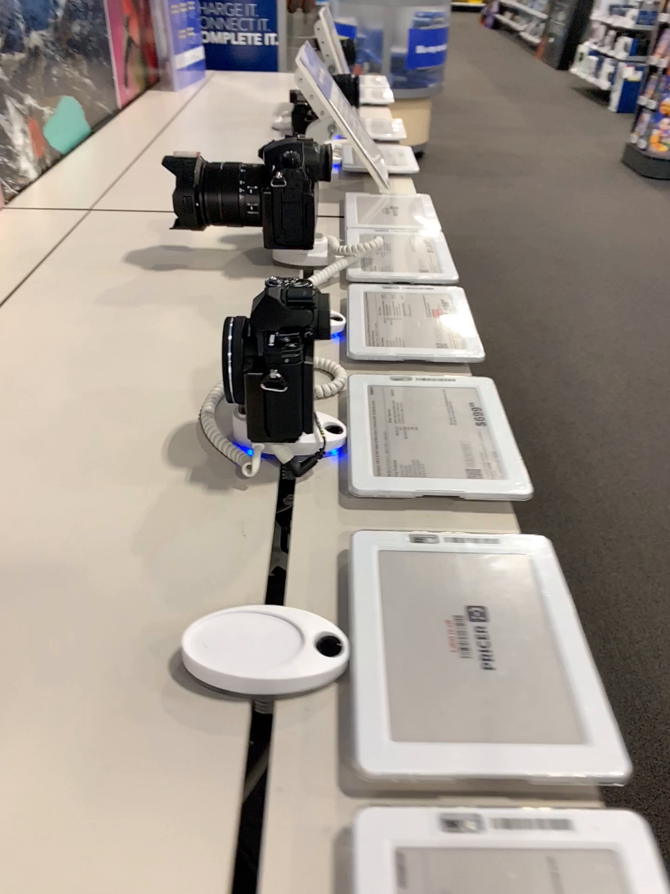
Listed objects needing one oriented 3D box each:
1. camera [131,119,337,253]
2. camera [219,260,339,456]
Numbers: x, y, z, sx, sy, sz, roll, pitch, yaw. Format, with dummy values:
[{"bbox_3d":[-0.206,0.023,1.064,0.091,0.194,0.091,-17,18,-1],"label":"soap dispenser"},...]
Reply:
[{"bbox_3d":[-0.101,-0.289,0.760,0.200,0.099,0.141,0,37,-2],"label":"camera"},{"bbox_3d":[-0.035,-0.065,0.477,0.070,0.079,0.131,0,37,-2],"label":"camera"}]
